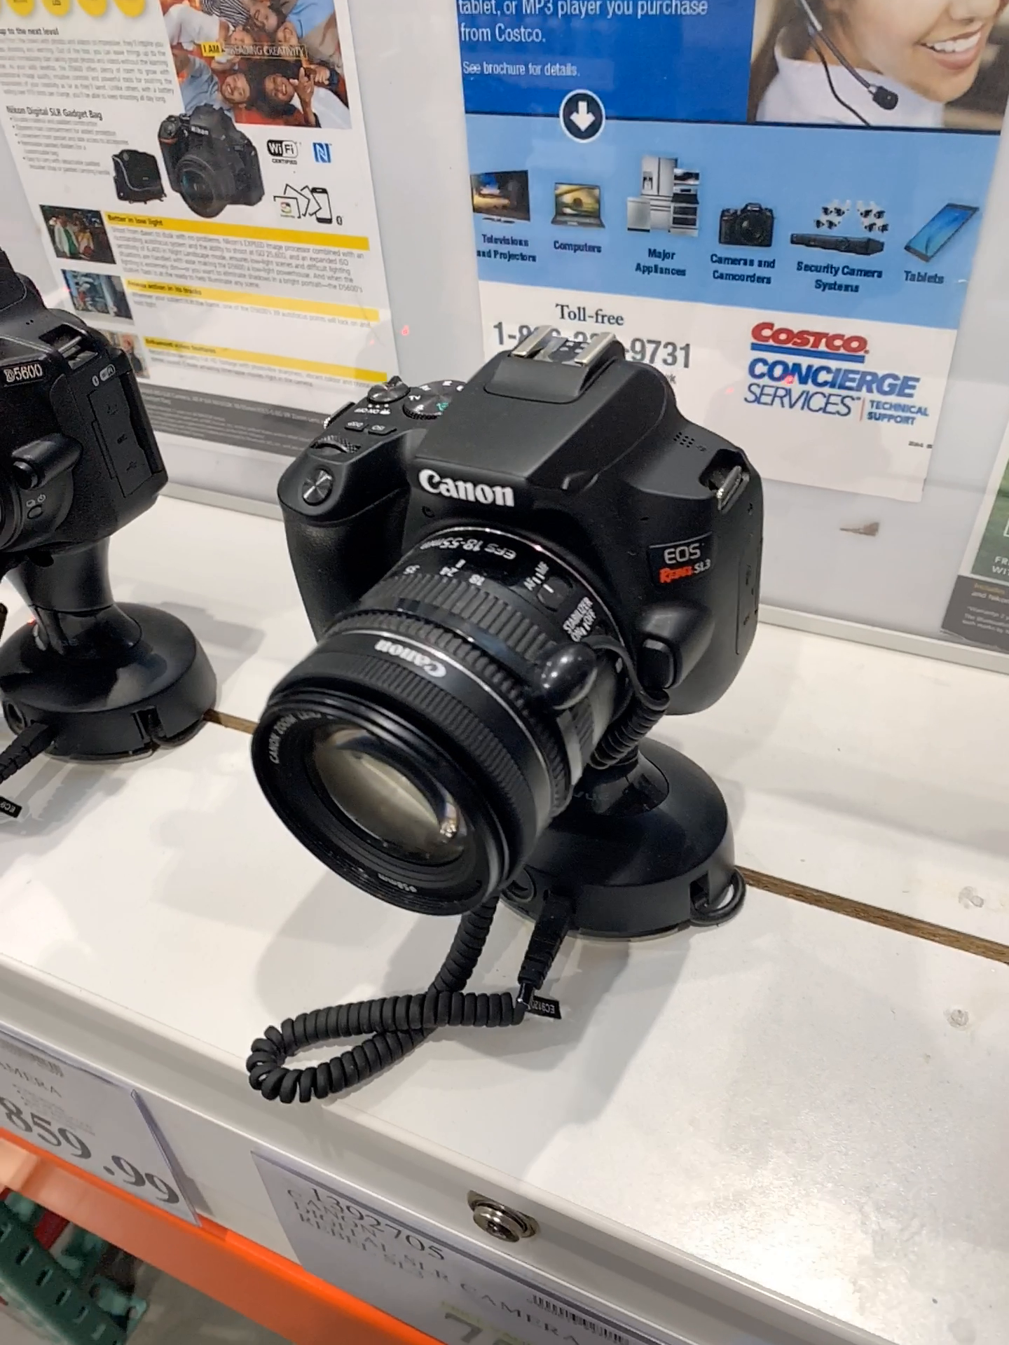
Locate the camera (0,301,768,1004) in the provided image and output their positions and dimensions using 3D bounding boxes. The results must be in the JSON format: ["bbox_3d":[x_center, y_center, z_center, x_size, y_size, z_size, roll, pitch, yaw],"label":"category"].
[{"bbox_3d":[-0.017,-0.015,0.237,0.120,0.089,0.111,13,44,24],"label":"camera"}]
